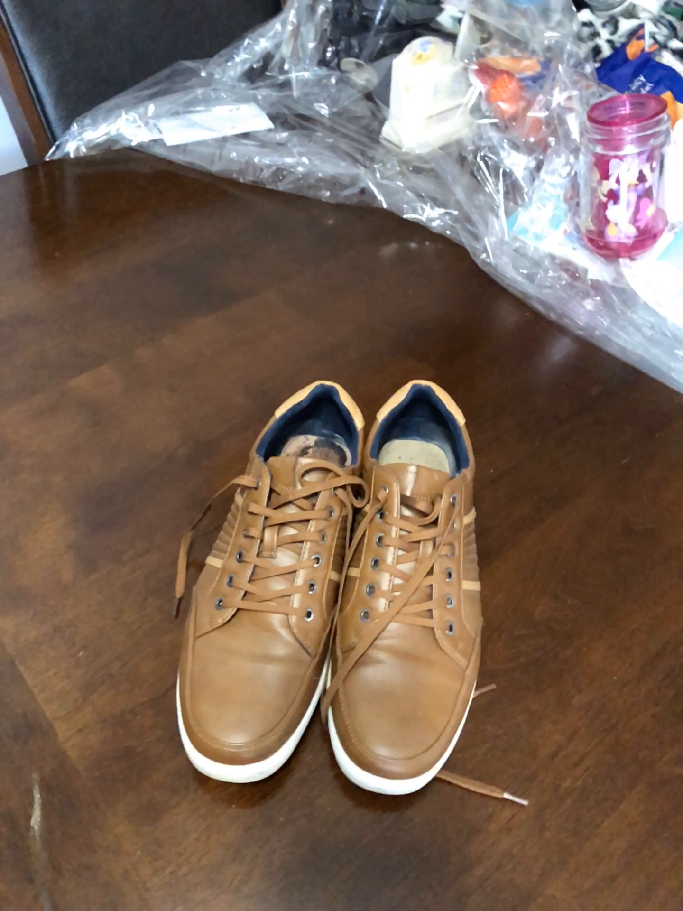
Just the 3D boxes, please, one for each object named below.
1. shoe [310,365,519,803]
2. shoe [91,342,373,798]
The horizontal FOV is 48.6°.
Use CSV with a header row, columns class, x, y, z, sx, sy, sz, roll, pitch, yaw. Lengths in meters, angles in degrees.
class,x,y,z,sx,sy,sz,roll,pitch,yaw
shoe,0.047,0.071,0.525,0.110,0.080,0.291,5,50,1
shoe,-0.054,0.057,0.507,0.110,0.080,0.291,8,50,3
